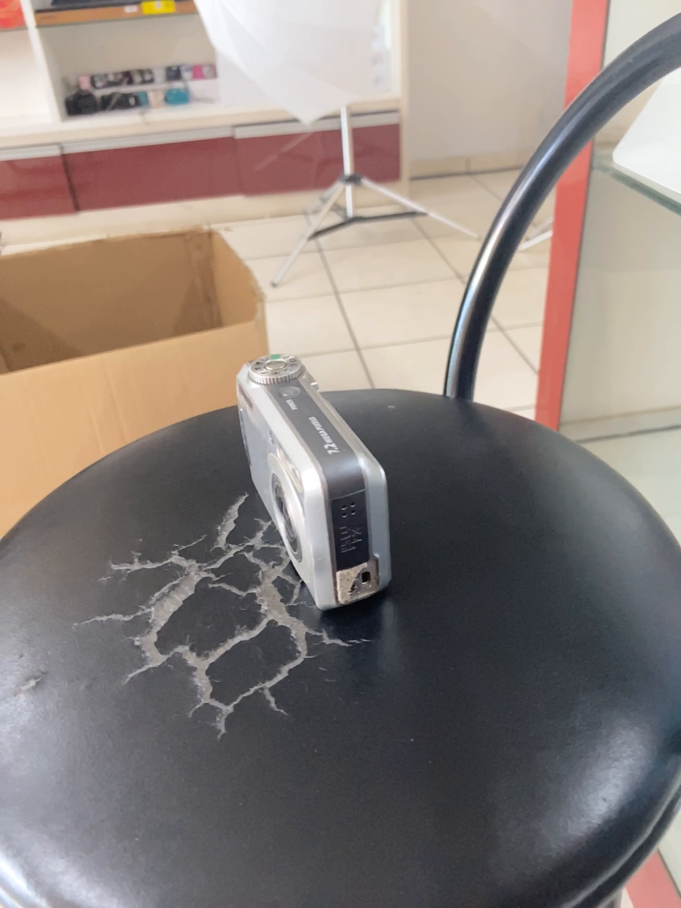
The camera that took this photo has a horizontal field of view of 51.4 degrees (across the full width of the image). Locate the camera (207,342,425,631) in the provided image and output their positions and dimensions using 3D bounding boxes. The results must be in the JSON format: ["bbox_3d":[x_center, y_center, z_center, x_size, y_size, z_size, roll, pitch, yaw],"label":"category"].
[{"bbox_3d":[-0.012,0.006,0.256,0.040,0.050,0.101,-17,36,-17],"label":"camera"}]
